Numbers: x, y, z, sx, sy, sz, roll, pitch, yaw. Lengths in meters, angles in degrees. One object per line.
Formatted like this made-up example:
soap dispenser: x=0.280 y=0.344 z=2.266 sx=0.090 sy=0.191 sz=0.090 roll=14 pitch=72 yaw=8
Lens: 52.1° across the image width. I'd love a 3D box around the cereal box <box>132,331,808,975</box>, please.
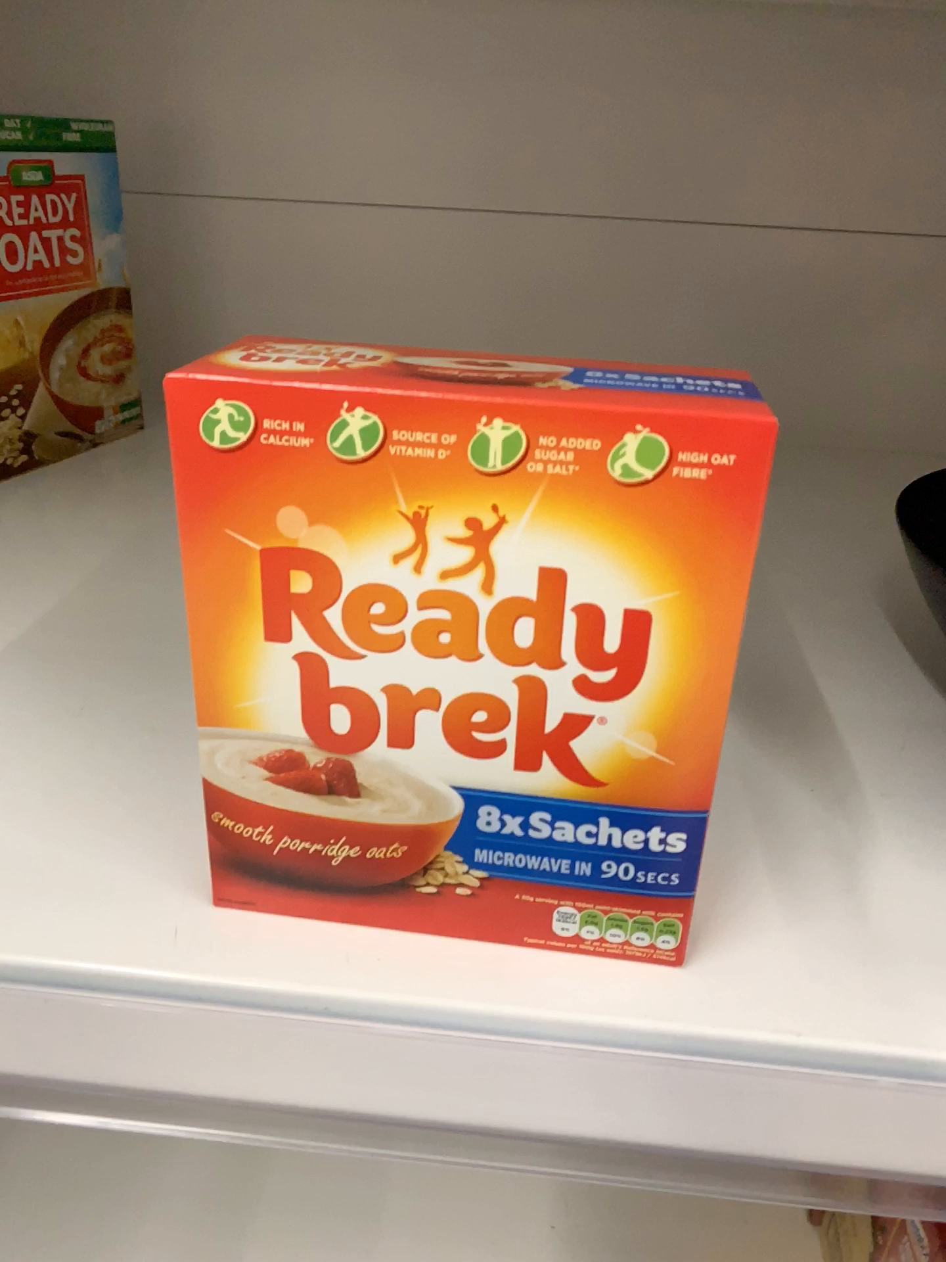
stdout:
cereal box: x=-0.003 y=0.008 z=0.328 sx=0.180 sy=0.188 sz=0.071 roll=6 pitch=26 yaw=6
